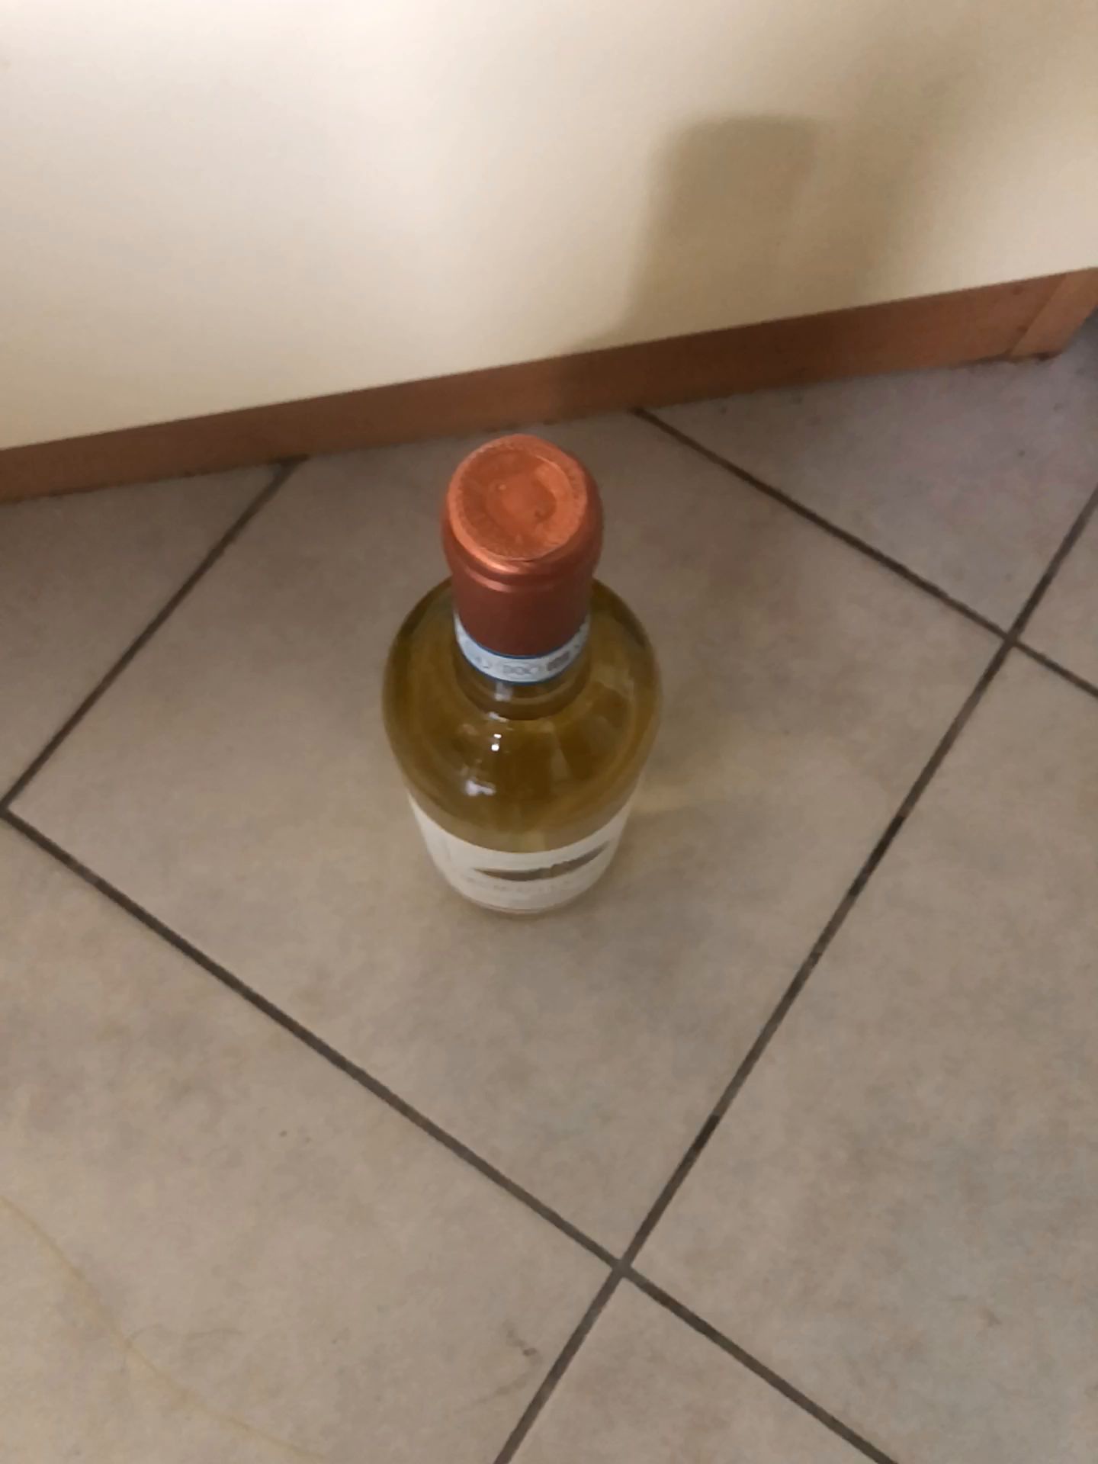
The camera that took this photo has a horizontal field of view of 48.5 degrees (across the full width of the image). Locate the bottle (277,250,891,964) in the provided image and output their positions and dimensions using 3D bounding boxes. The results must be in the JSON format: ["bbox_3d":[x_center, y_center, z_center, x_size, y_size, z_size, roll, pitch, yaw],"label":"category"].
[{"bbox_3d":[0.000,0.000,0.354,0.090,0.290,0.090,1,74,-2],"label":"bottle"}]
